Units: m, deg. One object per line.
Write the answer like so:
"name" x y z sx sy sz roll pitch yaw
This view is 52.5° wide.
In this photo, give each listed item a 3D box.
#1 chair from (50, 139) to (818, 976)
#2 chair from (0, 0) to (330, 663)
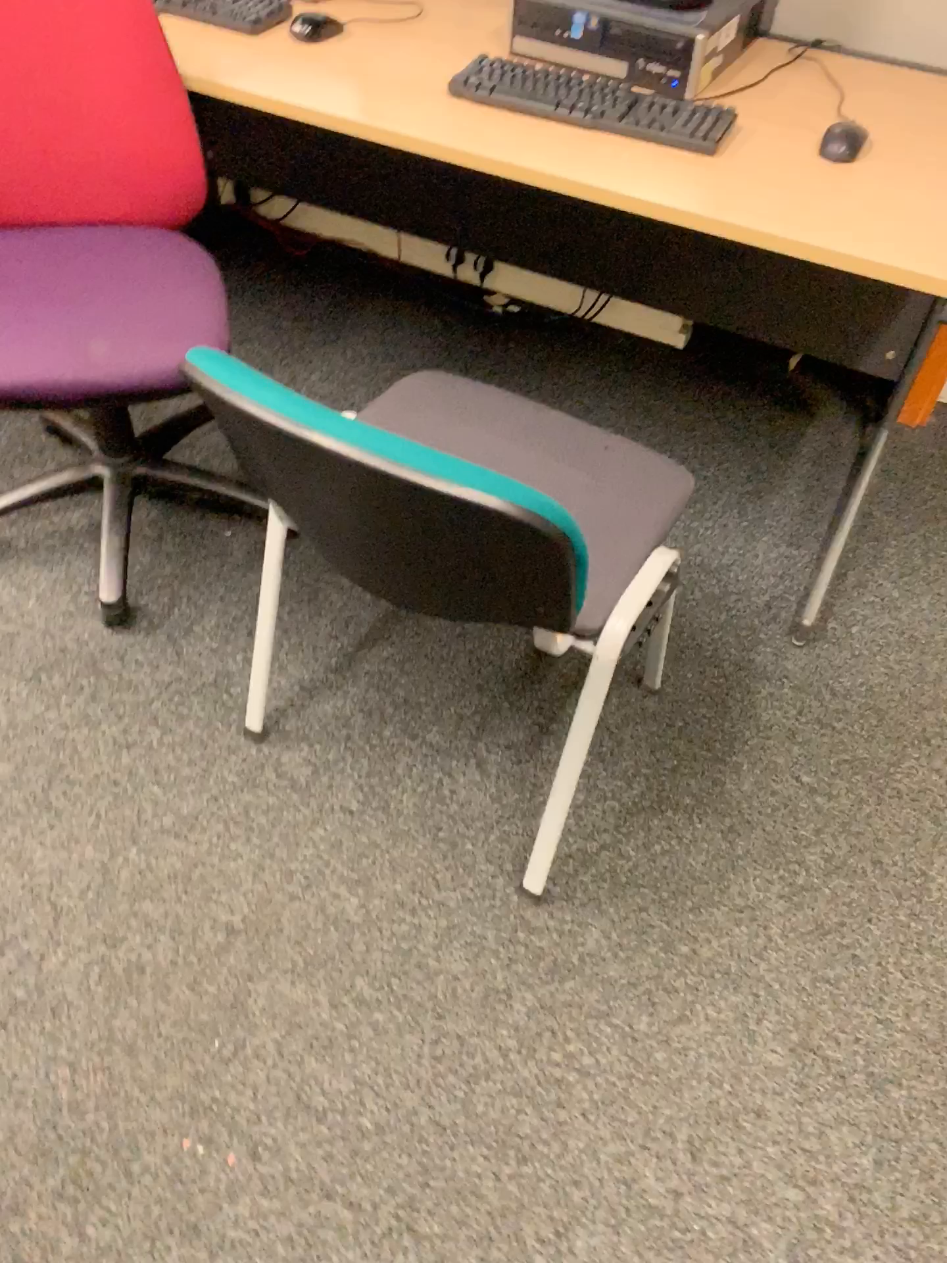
"chair" -0.021 -0.097 1.244 0.553 0.721 0.603 25 50 17
"chair" -0.627 -0.535 1.495 0.653 0.860 0.674 -9 49 -13
